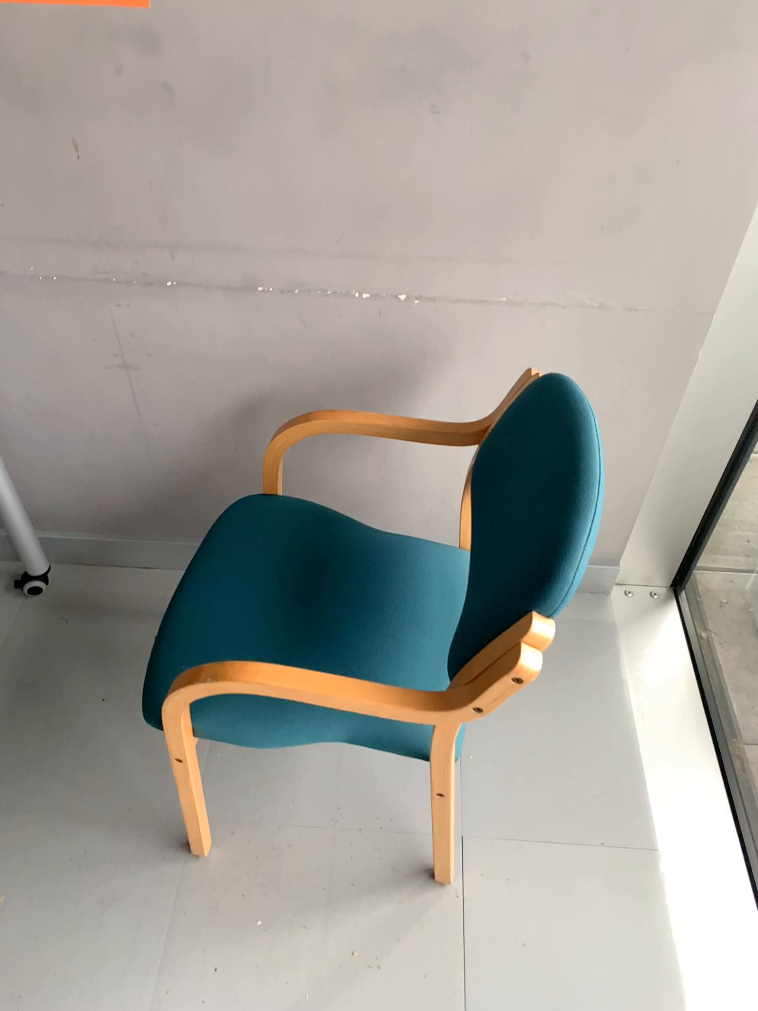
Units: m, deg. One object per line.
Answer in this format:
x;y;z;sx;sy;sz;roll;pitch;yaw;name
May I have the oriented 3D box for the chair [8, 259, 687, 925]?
-0.010;0.136;1.216;0.640;0.723;0.687;5;46;3;chair
